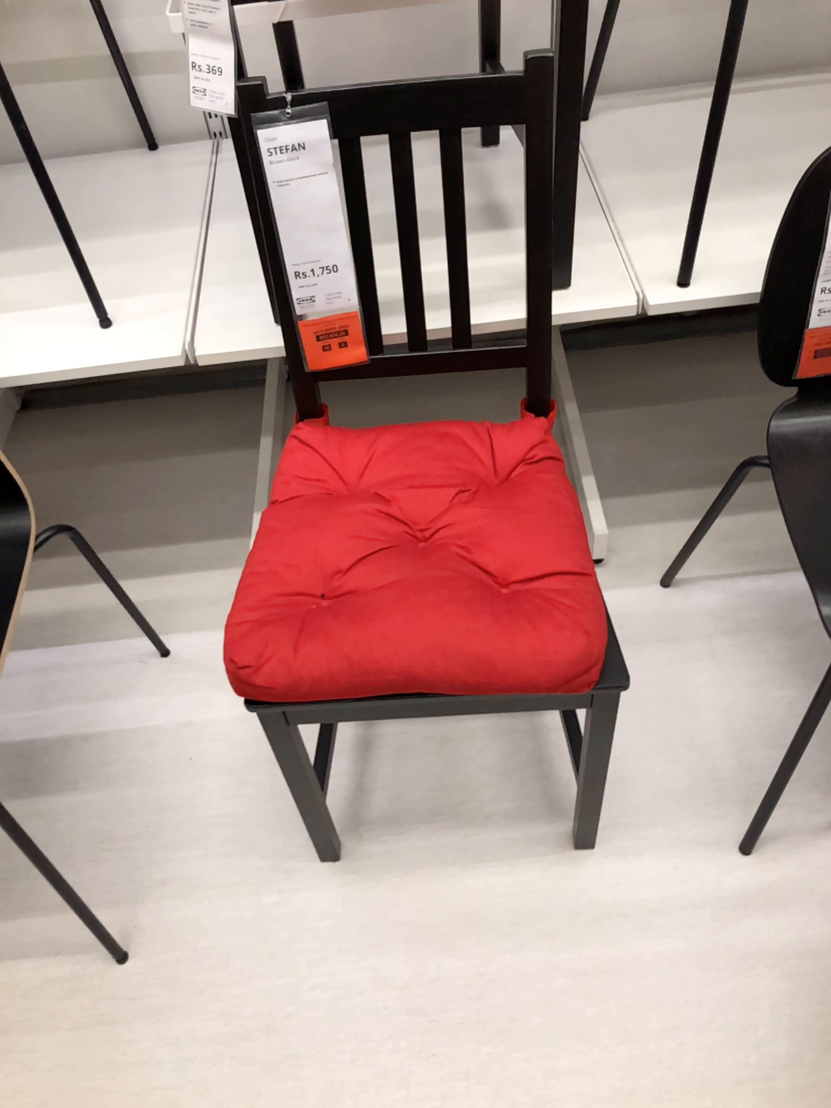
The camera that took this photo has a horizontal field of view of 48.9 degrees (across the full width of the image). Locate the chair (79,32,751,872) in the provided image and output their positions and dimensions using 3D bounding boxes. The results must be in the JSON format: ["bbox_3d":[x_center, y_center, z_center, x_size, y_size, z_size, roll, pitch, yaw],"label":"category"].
[{"bbox_3d":[0.027,-0.038,1.057,0.430,0.835,0.483,-4,50,3],"label":"chair"}]
